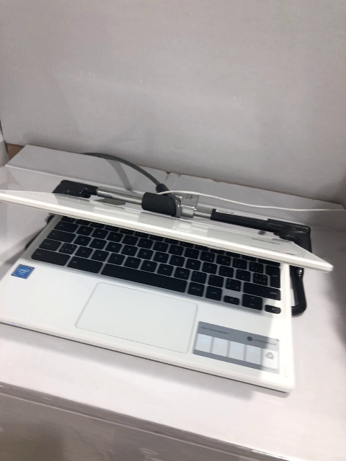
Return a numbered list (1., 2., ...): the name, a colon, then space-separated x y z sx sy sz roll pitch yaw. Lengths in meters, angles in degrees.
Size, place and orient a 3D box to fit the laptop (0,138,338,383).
1. laptop: -0.008 0.006 0.393 0.284 0.091 0.202 11 32 6
